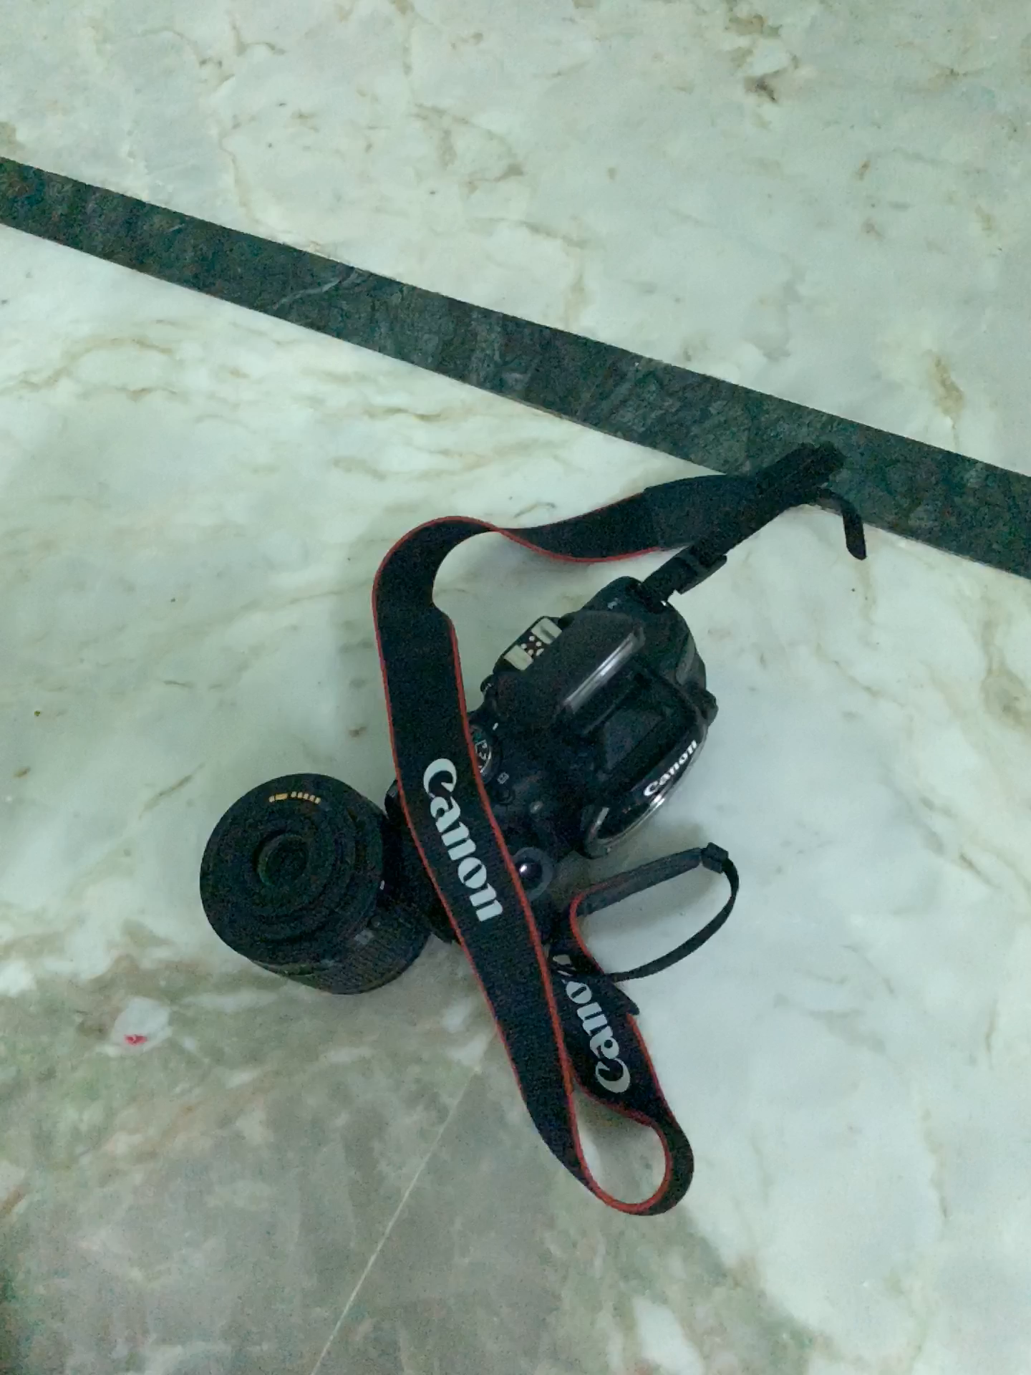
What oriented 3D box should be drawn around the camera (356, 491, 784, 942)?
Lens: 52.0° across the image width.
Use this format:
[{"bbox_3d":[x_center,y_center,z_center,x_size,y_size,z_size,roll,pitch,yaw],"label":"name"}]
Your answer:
[{"bbox_3d":[0.023,0.012,0.370,0.112,0.078,0.082,-44,65,-10],"label":"camera"}]
